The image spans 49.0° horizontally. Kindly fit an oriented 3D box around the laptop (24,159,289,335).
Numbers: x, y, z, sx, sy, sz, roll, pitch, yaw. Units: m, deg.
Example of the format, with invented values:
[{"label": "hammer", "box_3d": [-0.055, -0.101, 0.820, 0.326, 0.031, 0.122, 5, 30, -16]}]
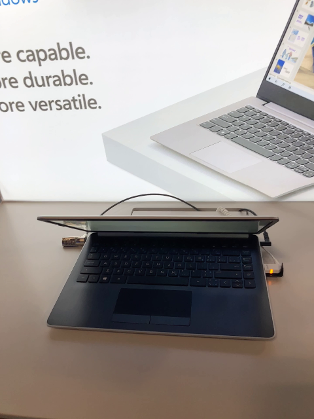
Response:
[{"label": "laptop", "box_3d": [0.010, 0.040, 0.524, 0.302, 0.155, 0.226, 0, 30, 10]}]
